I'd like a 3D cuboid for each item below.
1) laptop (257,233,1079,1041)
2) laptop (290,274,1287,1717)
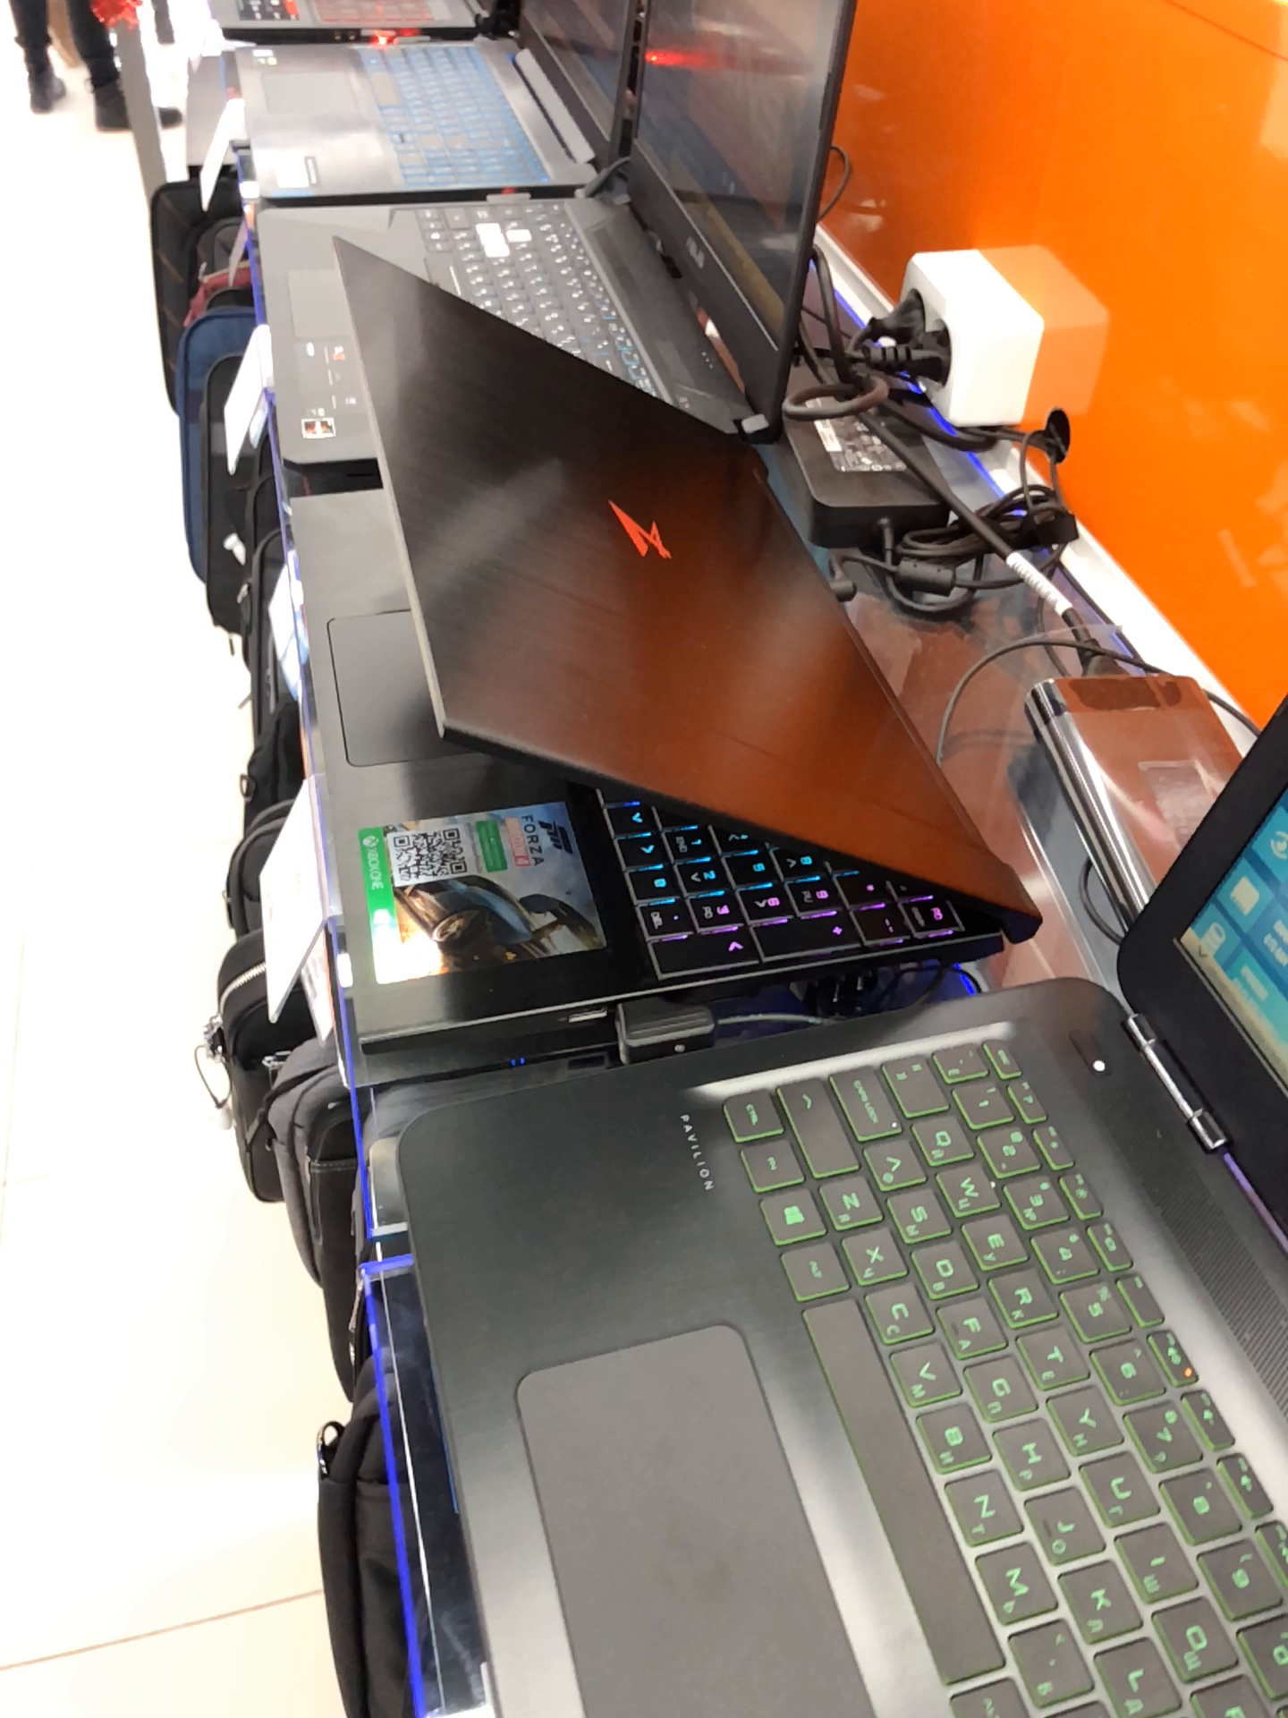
[{"bbox_3d":[-0.024,-0.122,0.582,0.233,0.118,0.361,-9,44,-10],"label":"laptop"},{"bbox_3d":[0.113,0.084,0.281,0.306,0.252,0.336,-8,45,-13],"label":"laptop"}]
